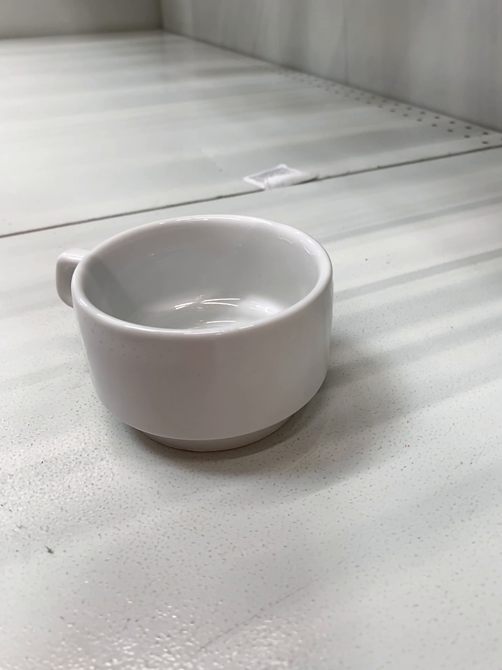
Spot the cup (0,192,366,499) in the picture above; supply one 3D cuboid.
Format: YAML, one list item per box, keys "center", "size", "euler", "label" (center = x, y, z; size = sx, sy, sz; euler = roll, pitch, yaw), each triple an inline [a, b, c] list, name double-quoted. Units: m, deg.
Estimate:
- center: [-0.026, -0.008, 0.204]
  size: [0.111, 0.051, 0.091]
  euler: [17, 39, 24]
  label: "cup"
